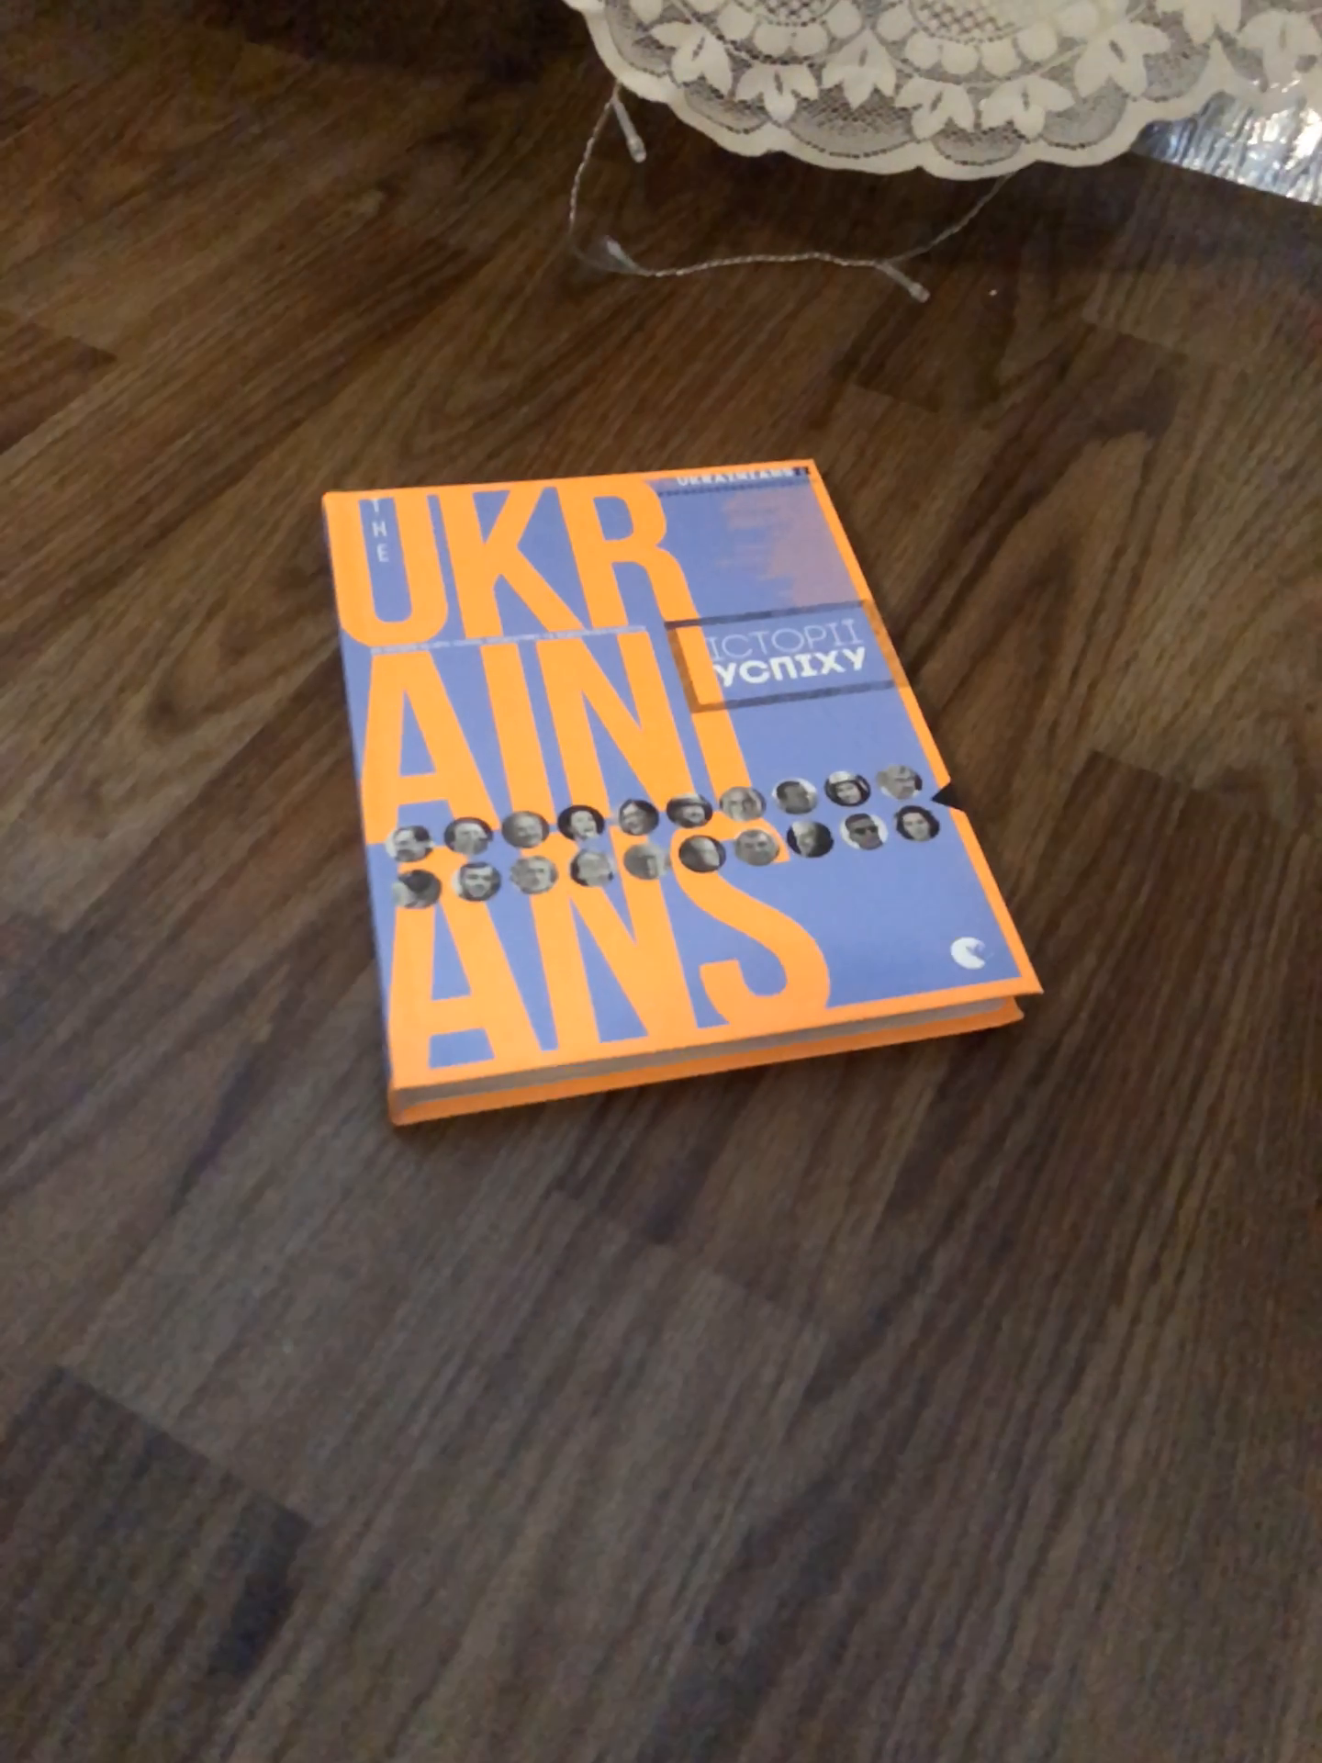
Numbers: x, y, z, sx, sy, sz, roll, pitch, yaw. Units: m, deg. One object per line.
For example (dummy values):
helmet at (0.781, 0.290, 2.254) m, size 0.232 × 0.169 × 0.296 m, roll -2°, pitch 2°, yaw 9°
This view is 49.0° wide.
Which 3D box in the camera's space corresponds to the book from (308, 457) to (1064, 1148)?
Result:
book at (-0.006, -0.039, 0.408) m, size 0.164 × 0.020 × 0.216 m, roll -7°, pitch 54°, yaw -12°
